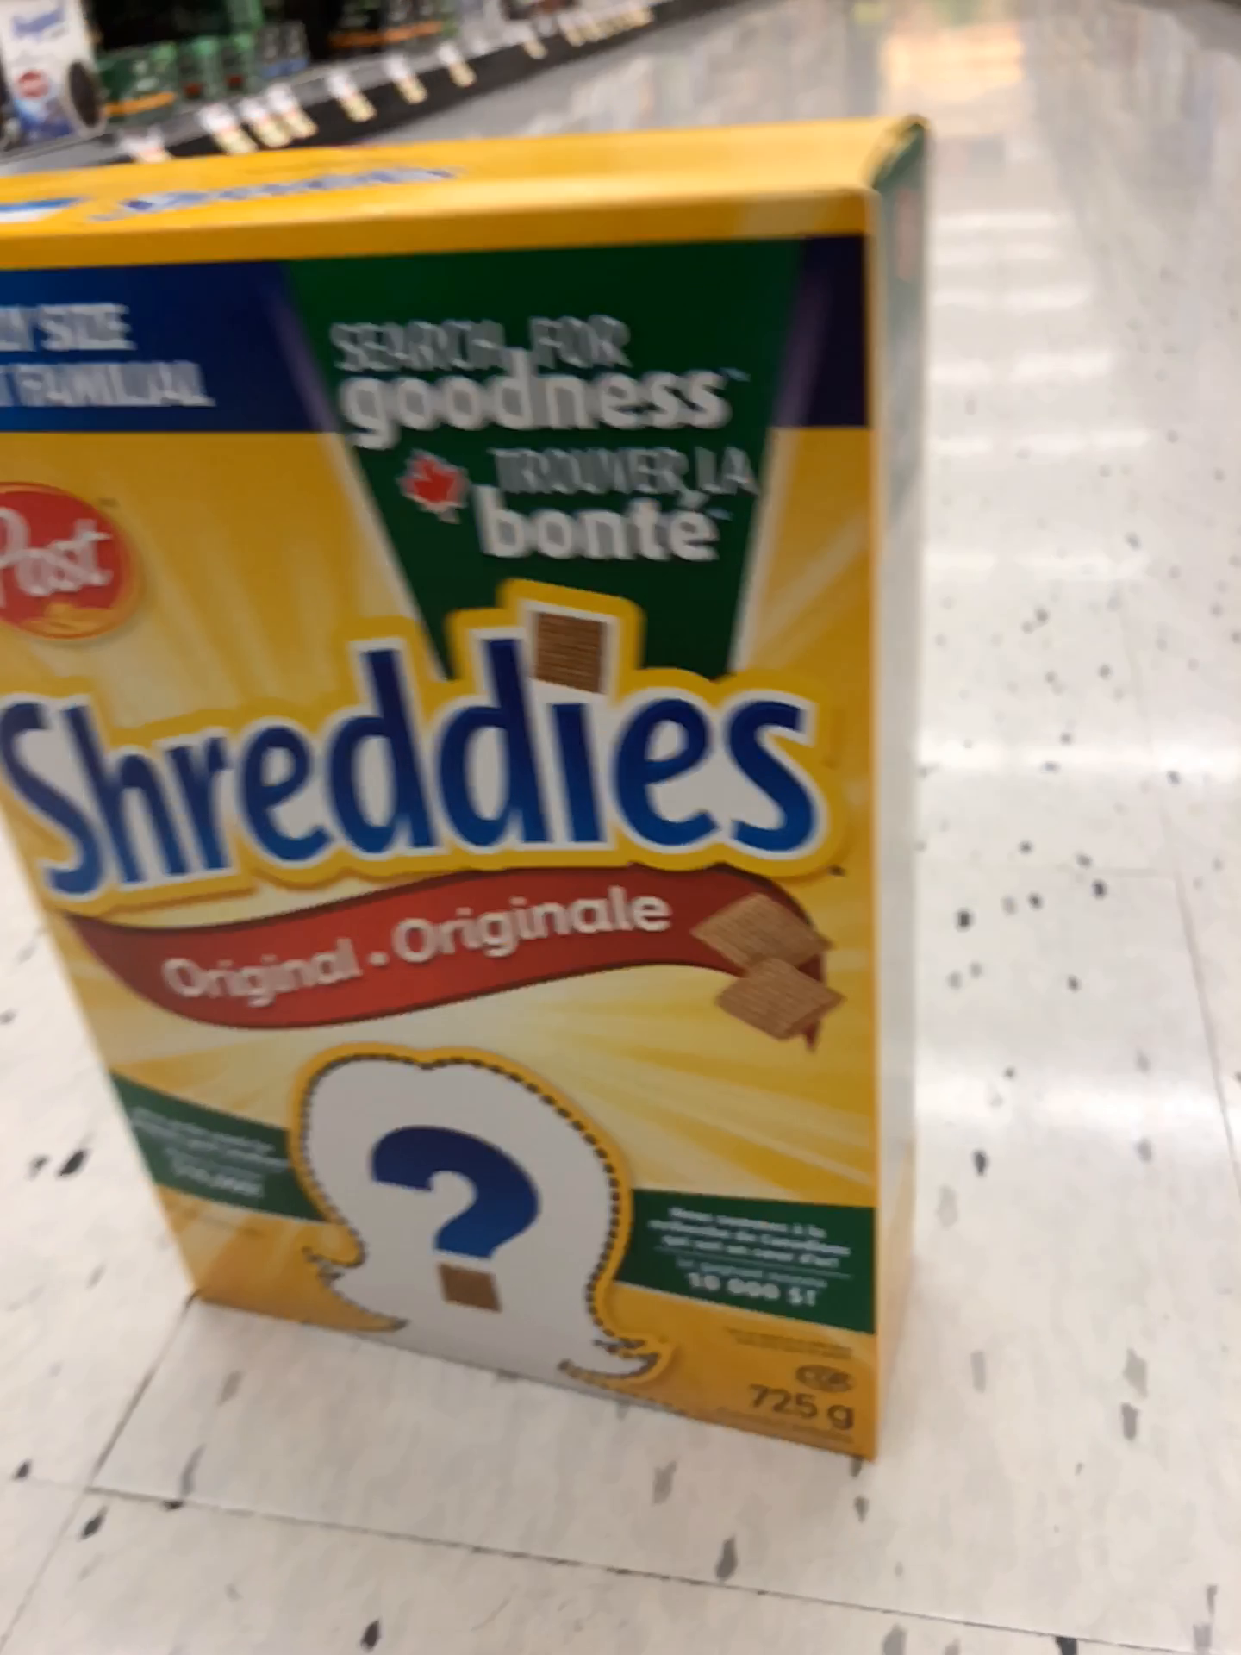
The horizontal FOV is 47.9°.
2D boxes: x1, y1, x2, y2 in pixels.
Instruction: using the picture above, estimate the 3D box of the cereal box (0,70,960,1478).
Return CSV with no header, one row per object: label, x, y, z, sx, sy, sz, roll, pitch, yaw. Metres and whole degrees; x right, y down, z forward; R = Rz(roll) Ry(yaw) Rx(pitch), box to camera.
cereal box,-0.034,0.012,0.334,0.210,0.318,0.070,5,37,18
